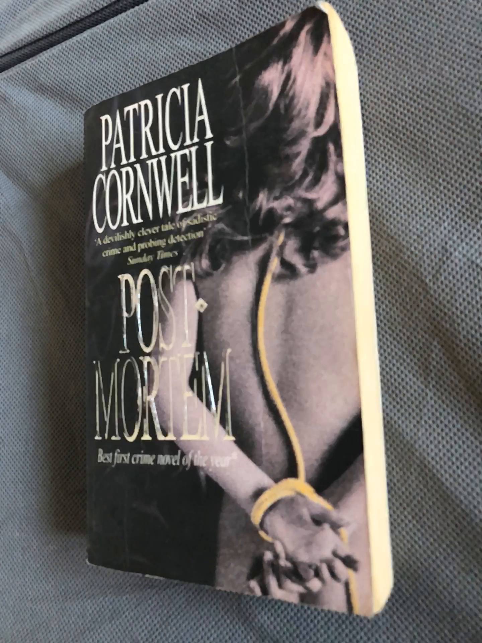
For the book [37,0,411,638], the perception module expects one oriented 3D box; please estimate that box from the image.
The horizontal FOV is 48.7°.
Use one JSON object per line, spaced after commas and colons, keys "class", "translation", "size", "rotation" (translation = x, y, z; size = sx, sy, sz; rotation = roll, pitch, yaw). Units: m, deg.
{"class": "book", "translation": [-0.009, -0.008, 0.185], "size": [0.110, 0.050, 0.180], "rotation": [-6, 80, 28]}
